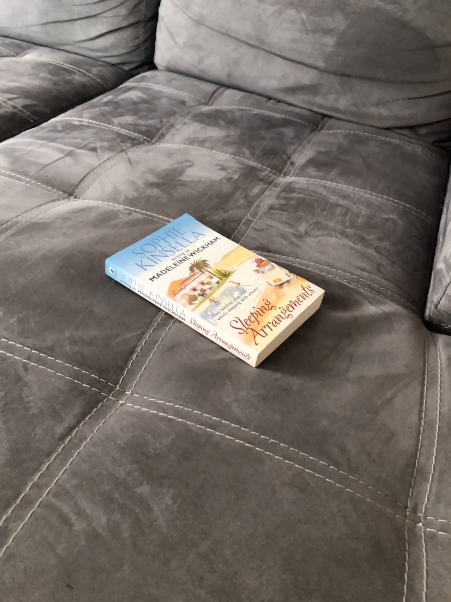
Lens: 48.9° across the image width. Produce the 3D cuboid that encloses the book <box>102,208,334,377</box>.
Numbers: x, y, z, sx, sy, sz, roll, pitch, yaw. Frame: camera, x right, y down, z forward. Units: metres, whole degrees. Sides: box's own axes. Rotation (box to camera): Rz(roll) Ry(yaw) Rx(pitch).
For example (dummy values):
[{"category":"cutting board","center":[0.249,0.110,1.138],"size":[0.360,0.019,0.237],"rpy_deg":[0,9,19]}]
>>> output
[{"category":"book","center":[-0.009,-0.021,0.512],"size":[0.200,0.030,0.131],"rpy_deg":[31,44,23]}]
